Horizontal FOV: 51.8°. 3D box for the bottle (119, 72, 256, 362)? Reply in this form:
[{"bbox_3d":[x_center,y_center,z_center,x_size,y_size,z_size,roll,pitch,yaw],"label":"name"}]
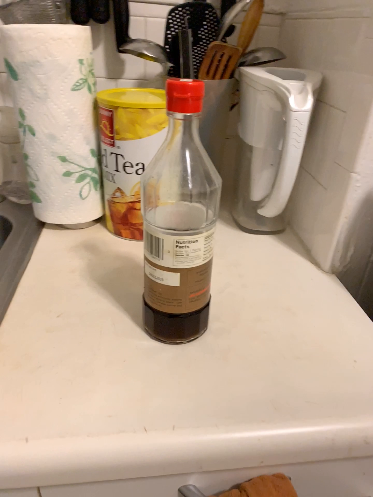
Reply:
[{"bbox_3d":[-0.012,-0.023,0.373,0.090,0.258,0.091,3,30,-2],"label":"bottle"}]
